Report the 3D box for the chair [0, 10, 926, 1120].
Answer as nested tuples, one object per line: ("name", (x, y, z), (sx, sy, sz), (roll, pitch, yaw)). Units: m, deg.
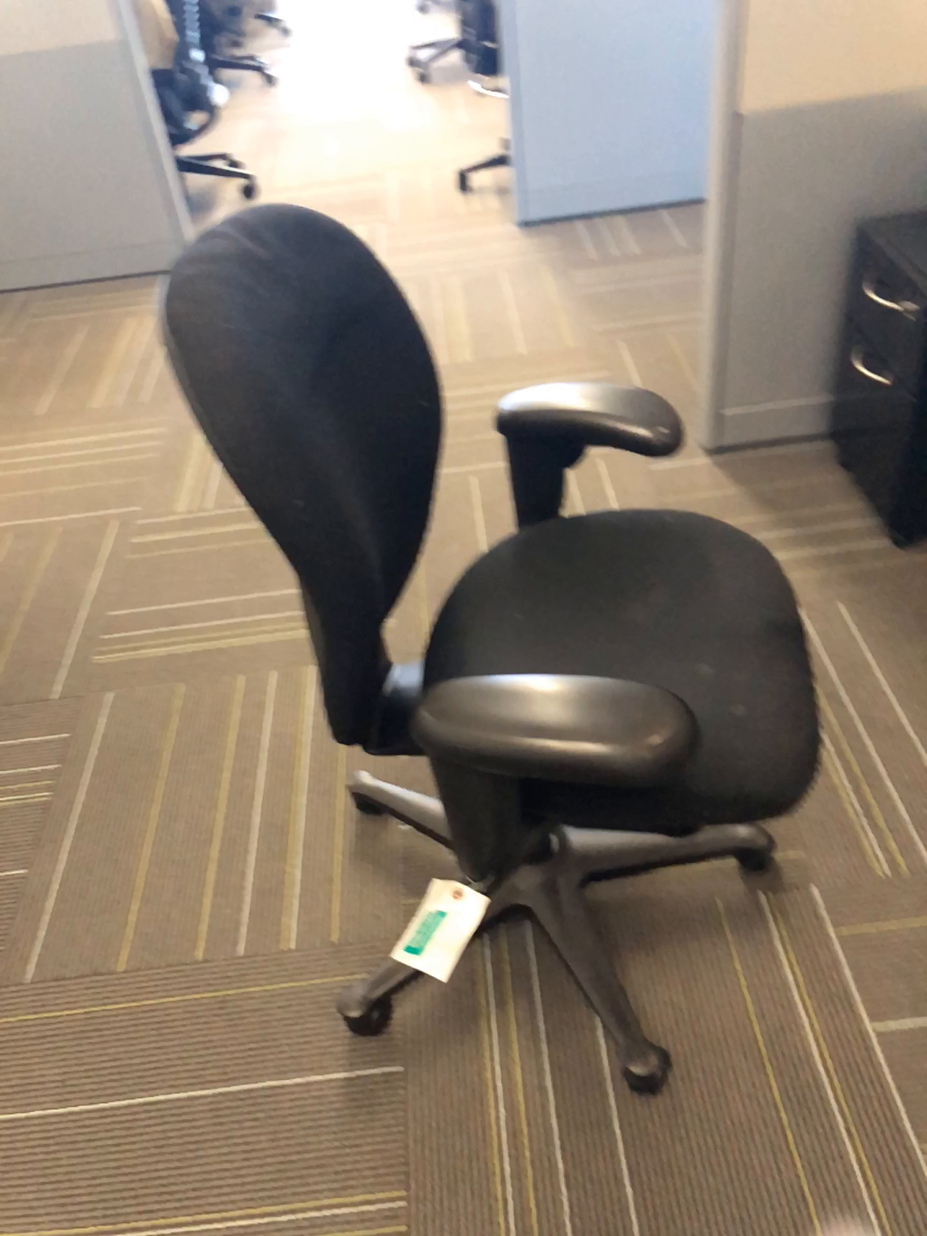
("chair", (0.074, -0.054, 1.217), (0.681, 0.995, 0.703), (5, 41, 15))
